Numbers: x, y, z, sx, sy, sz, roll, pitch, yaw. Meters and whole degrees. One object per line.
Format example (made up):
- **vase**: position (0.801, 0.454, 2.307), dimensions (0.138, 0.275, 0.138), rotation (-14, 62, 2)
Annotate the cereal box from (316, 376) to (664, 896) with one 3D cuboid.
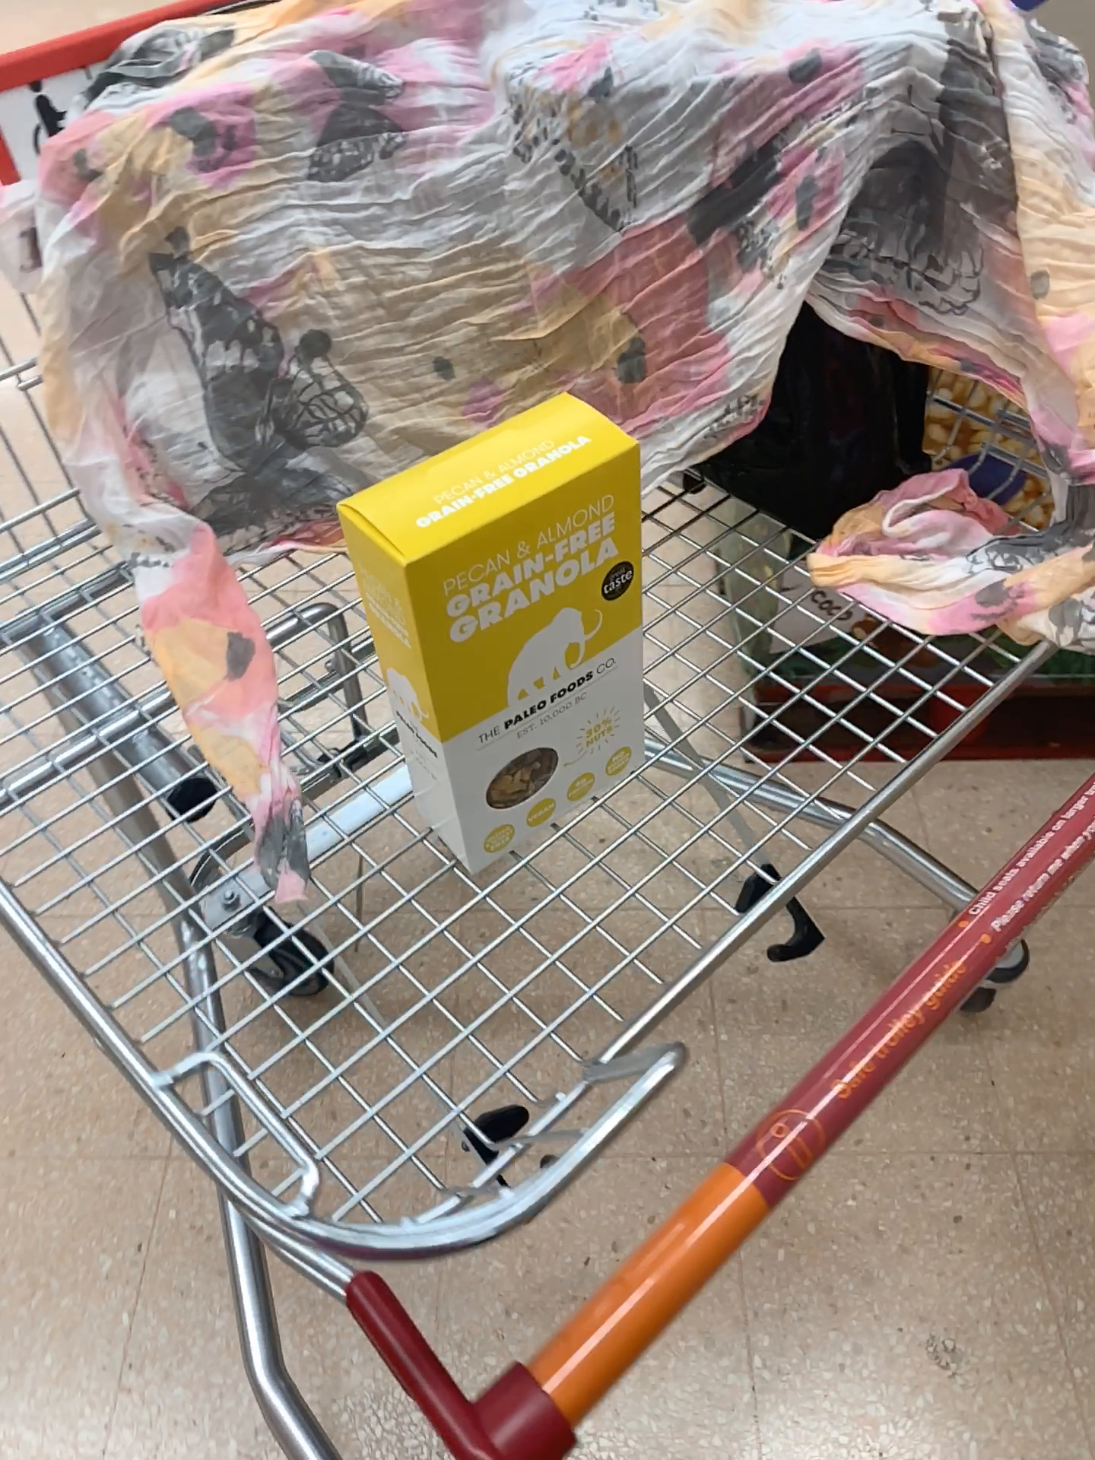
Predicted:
- **cereal box**: position (-0.015, -0.037, 0.525), dimensions (0.130, 0.208, 0.060), rotation (-31, 51, -23)
